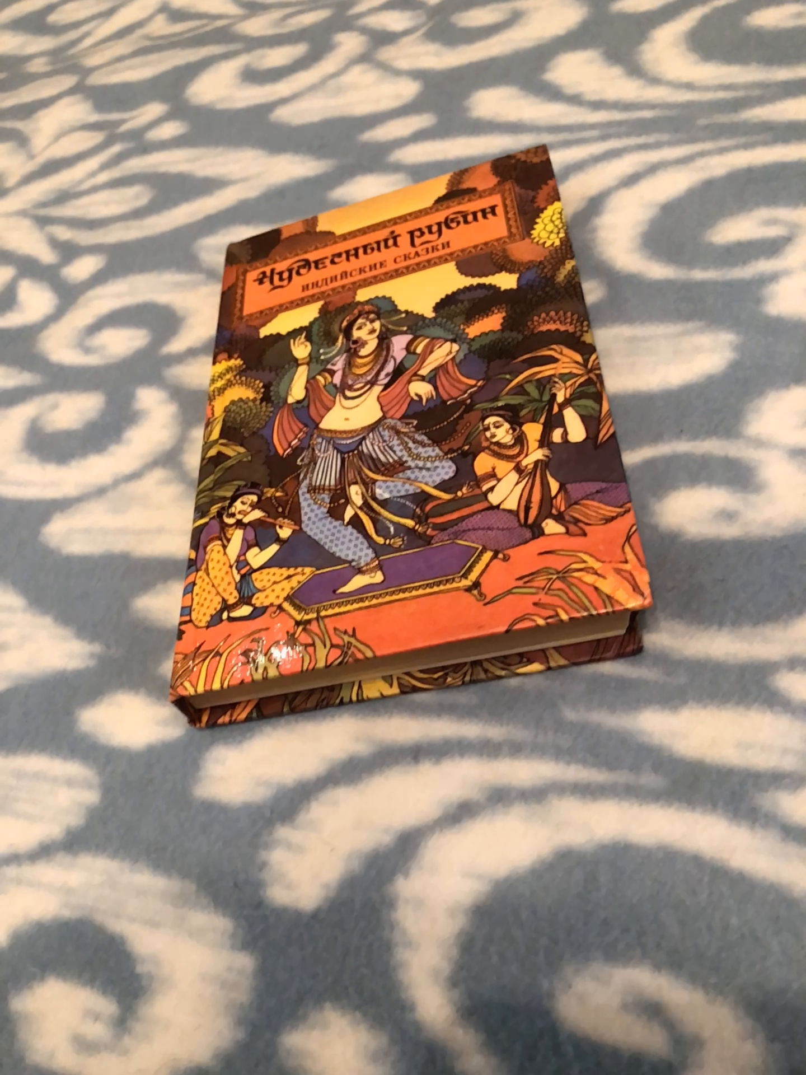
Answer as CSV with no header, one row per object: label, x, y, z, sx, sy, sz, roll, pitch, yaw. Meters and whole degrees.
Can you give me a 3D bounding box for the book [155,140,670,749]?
book,-0.003,-0.043,0.307,0.139,0.027,0.211,-13,53,14
